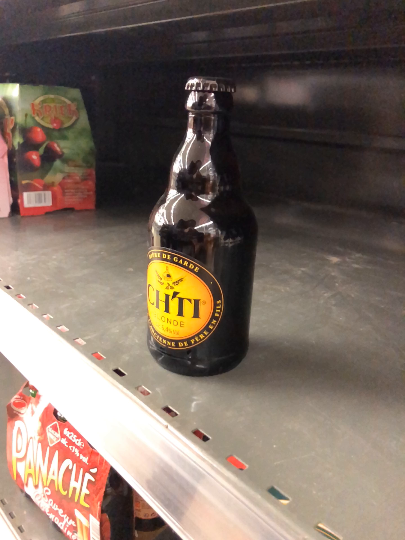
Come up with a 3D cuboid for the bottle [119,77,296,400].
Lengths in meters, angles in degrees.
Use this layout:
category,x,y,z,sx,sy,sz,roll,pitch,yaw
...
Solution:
category,x,y,z,sx,sy,sz,roll,pitch,yaw
bottle,0.000,-0.023,0.274,0.070,0.169,0.070,3,18,-1
